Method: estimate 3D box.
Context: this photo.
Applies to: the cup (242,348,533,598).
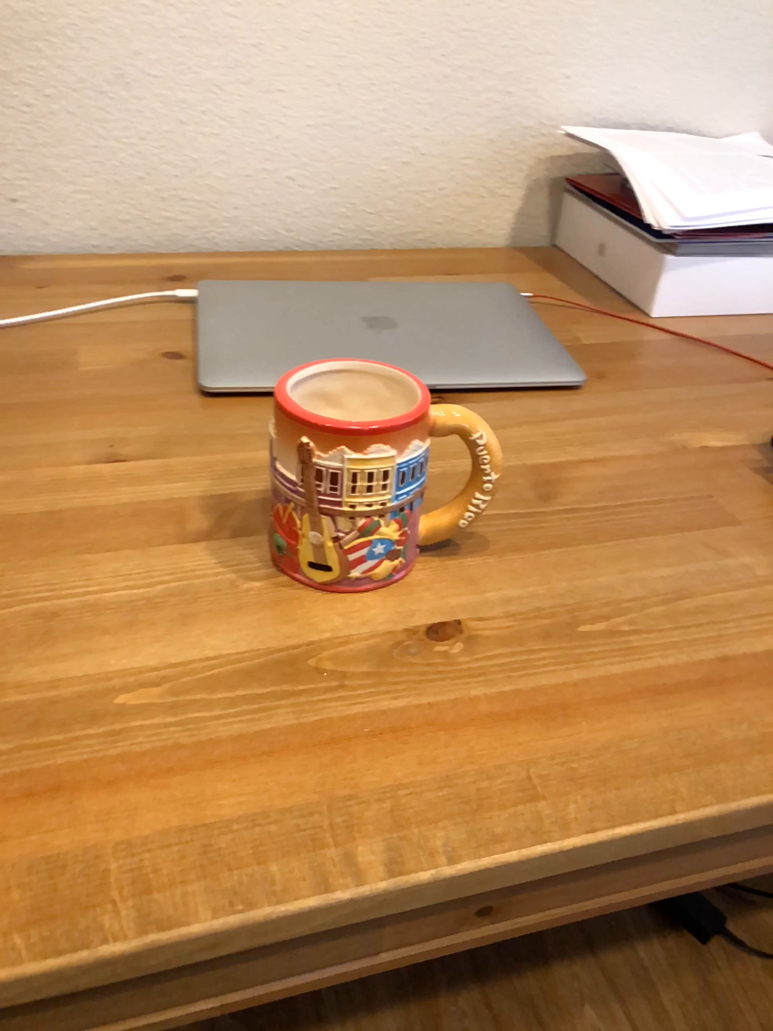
[{"bbox_3d":[-0.002,-0.024,0.446,0.130,0.090,0.090,3,34,-3],"label":"cup"}]
